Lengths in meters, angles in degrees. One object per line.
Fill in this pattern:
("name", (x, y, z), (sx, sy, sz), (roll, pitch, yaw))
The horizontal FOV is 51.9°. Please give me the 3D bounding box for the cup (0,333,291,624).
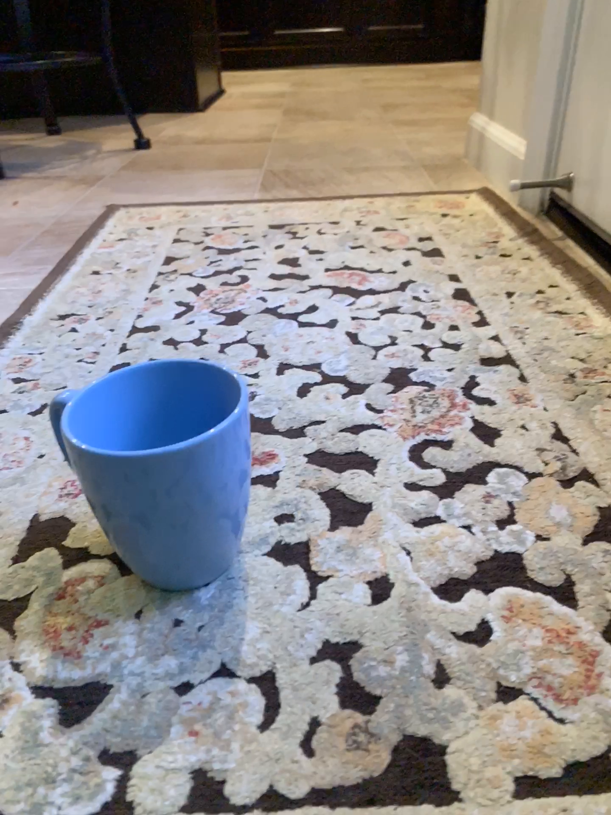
("cup", (-0.083, 0.029, 0.324), (0.120, 0.089, 0.091), (11, 34, 20))
